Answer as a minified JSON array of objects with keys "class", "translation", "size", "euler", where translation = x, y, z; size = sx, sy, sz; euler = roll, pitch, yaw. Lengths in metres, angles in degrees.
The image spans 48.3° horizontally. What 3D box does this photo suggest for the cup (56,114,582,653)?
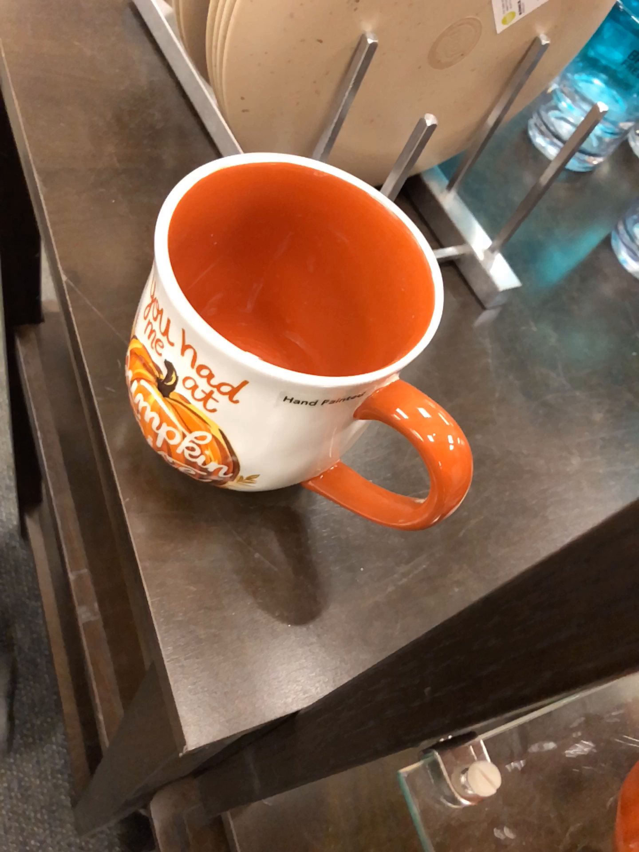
[{"class":"cup","translation":[-0.009,-0.018,0.262],"size":[0.102,0.094,0.143],"euler":[-35,76,-34]}]
